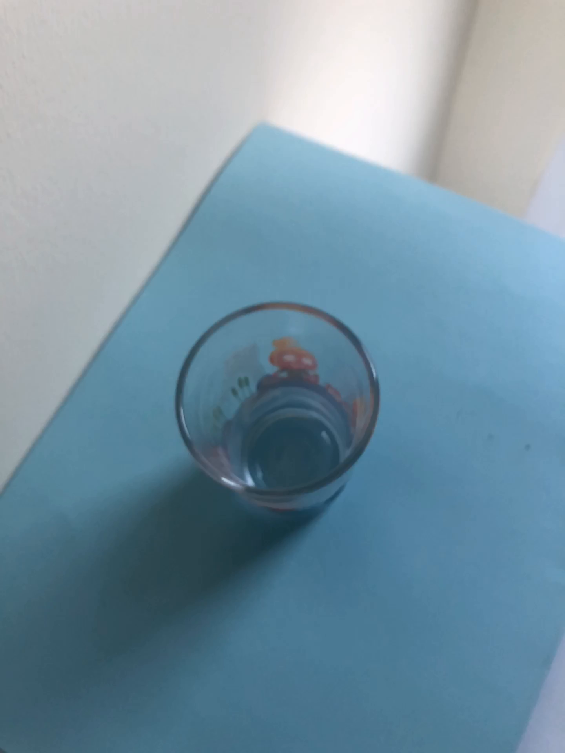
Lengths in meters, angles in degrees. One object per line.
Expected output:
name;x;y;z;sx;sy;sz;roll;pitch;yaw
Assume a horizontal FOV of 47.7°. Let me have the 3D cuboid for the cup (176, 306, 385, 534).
cup;0.004;0.023;0.240;0.060;0.100;0.060;-1;71;4
